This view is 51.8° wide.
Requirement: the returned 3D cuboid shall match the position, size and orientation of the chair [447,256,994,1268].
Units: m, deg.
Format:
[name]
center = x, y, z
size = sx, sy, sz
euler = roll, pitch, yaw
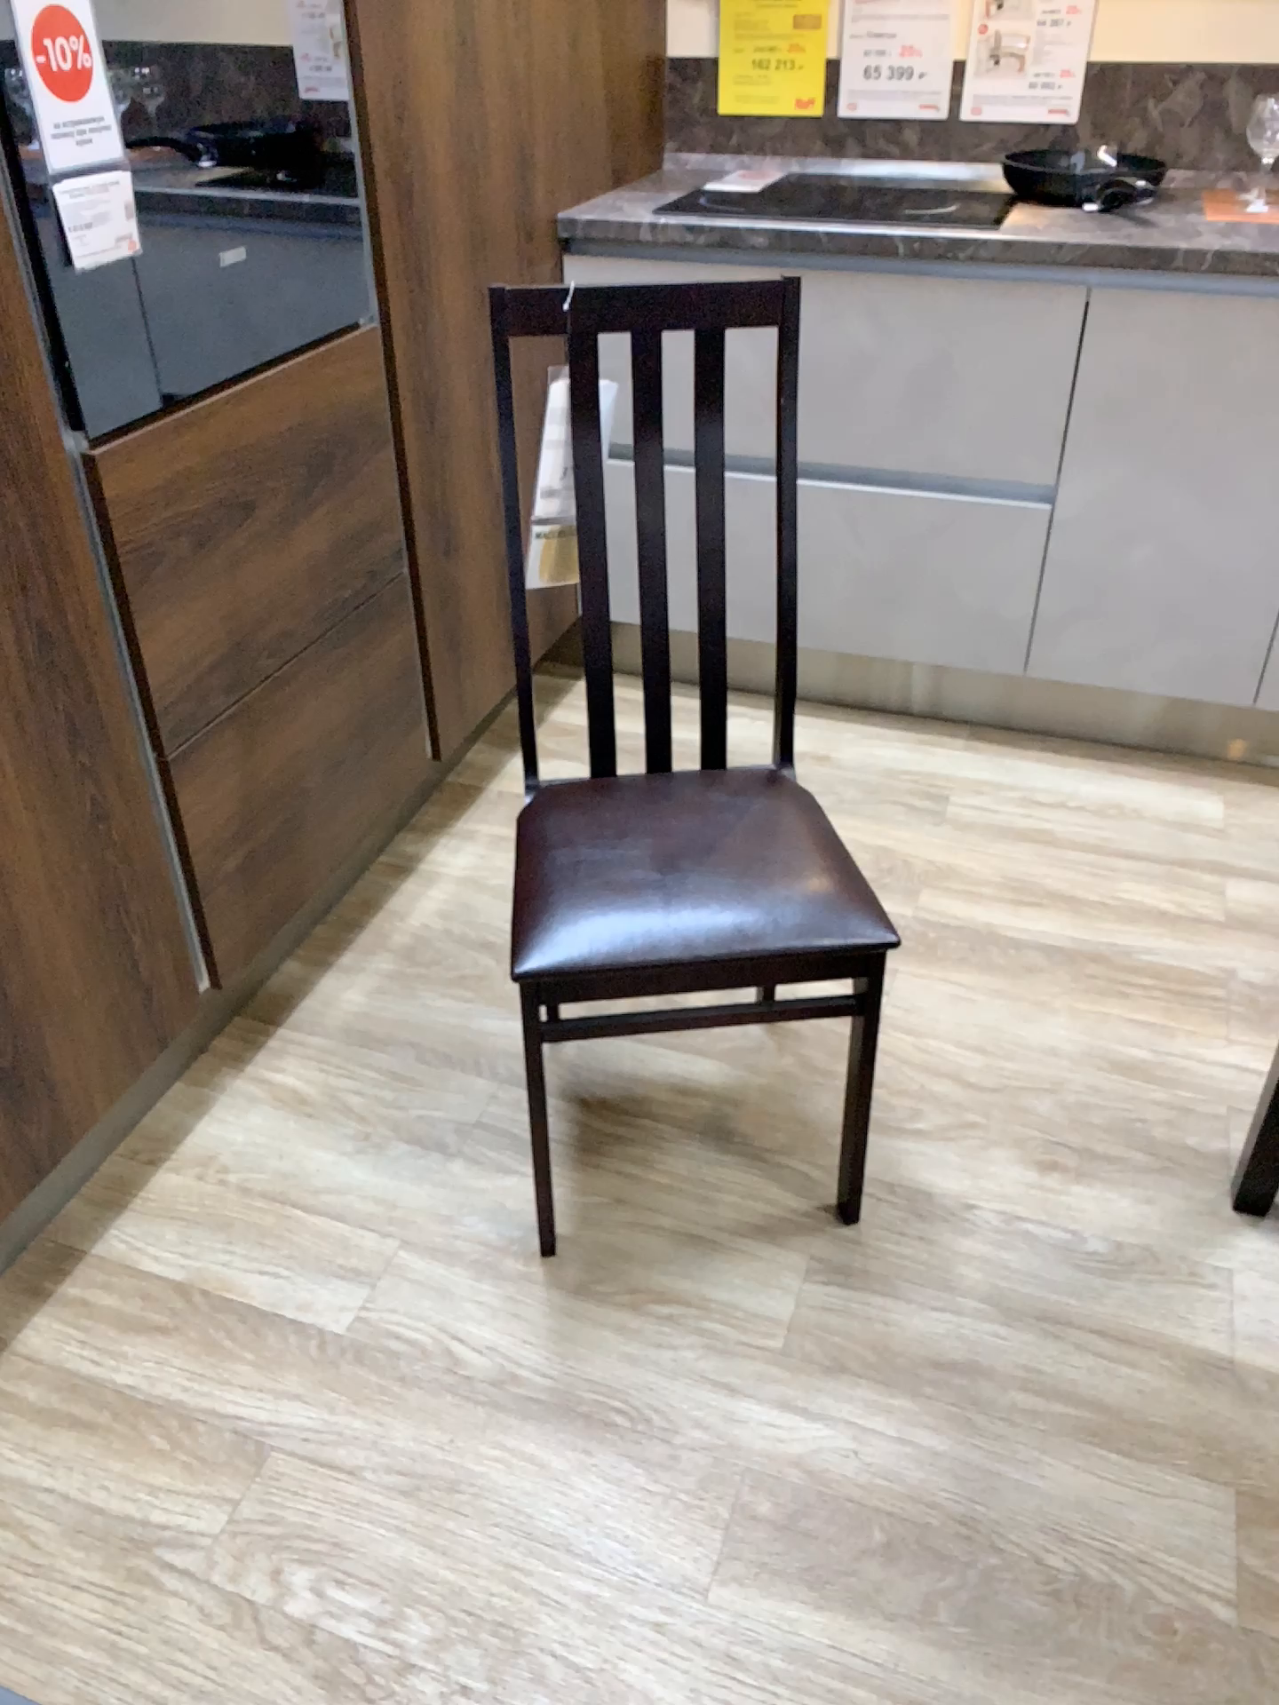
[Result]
[chair]
center = 0.041, -0.083, 1.523
size = 0.430, 1.014, 0.523
euler = -4, 35, -5
